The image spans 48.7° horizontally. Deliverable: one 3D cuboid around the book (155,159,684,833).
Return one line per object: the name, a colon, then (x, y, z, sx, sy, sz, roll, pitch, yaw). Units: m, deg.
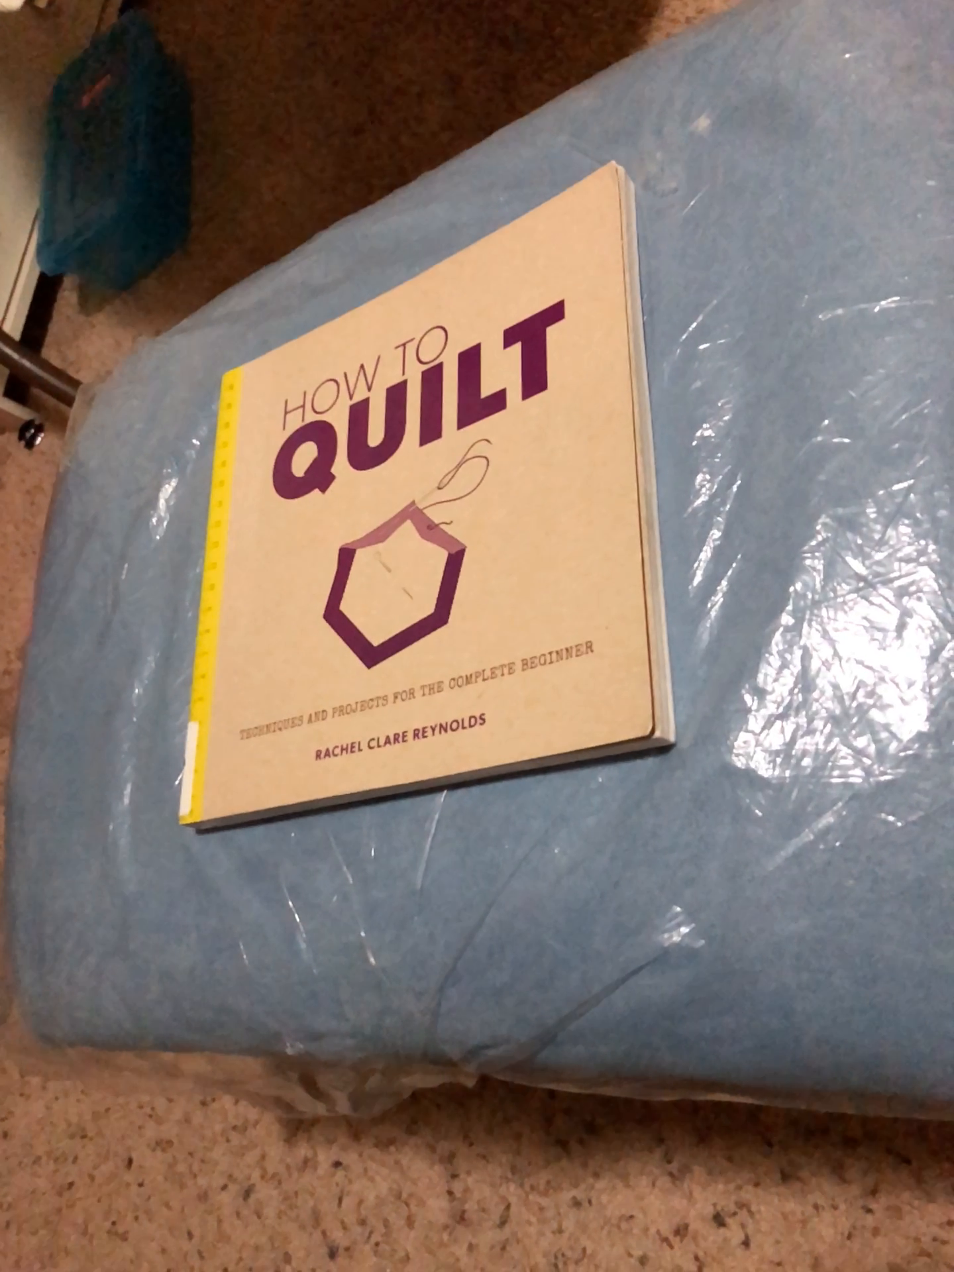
book: (-0.032, -0.040, 0.377, 0.209, 0.020, 0.194, -15, 65, 35)
